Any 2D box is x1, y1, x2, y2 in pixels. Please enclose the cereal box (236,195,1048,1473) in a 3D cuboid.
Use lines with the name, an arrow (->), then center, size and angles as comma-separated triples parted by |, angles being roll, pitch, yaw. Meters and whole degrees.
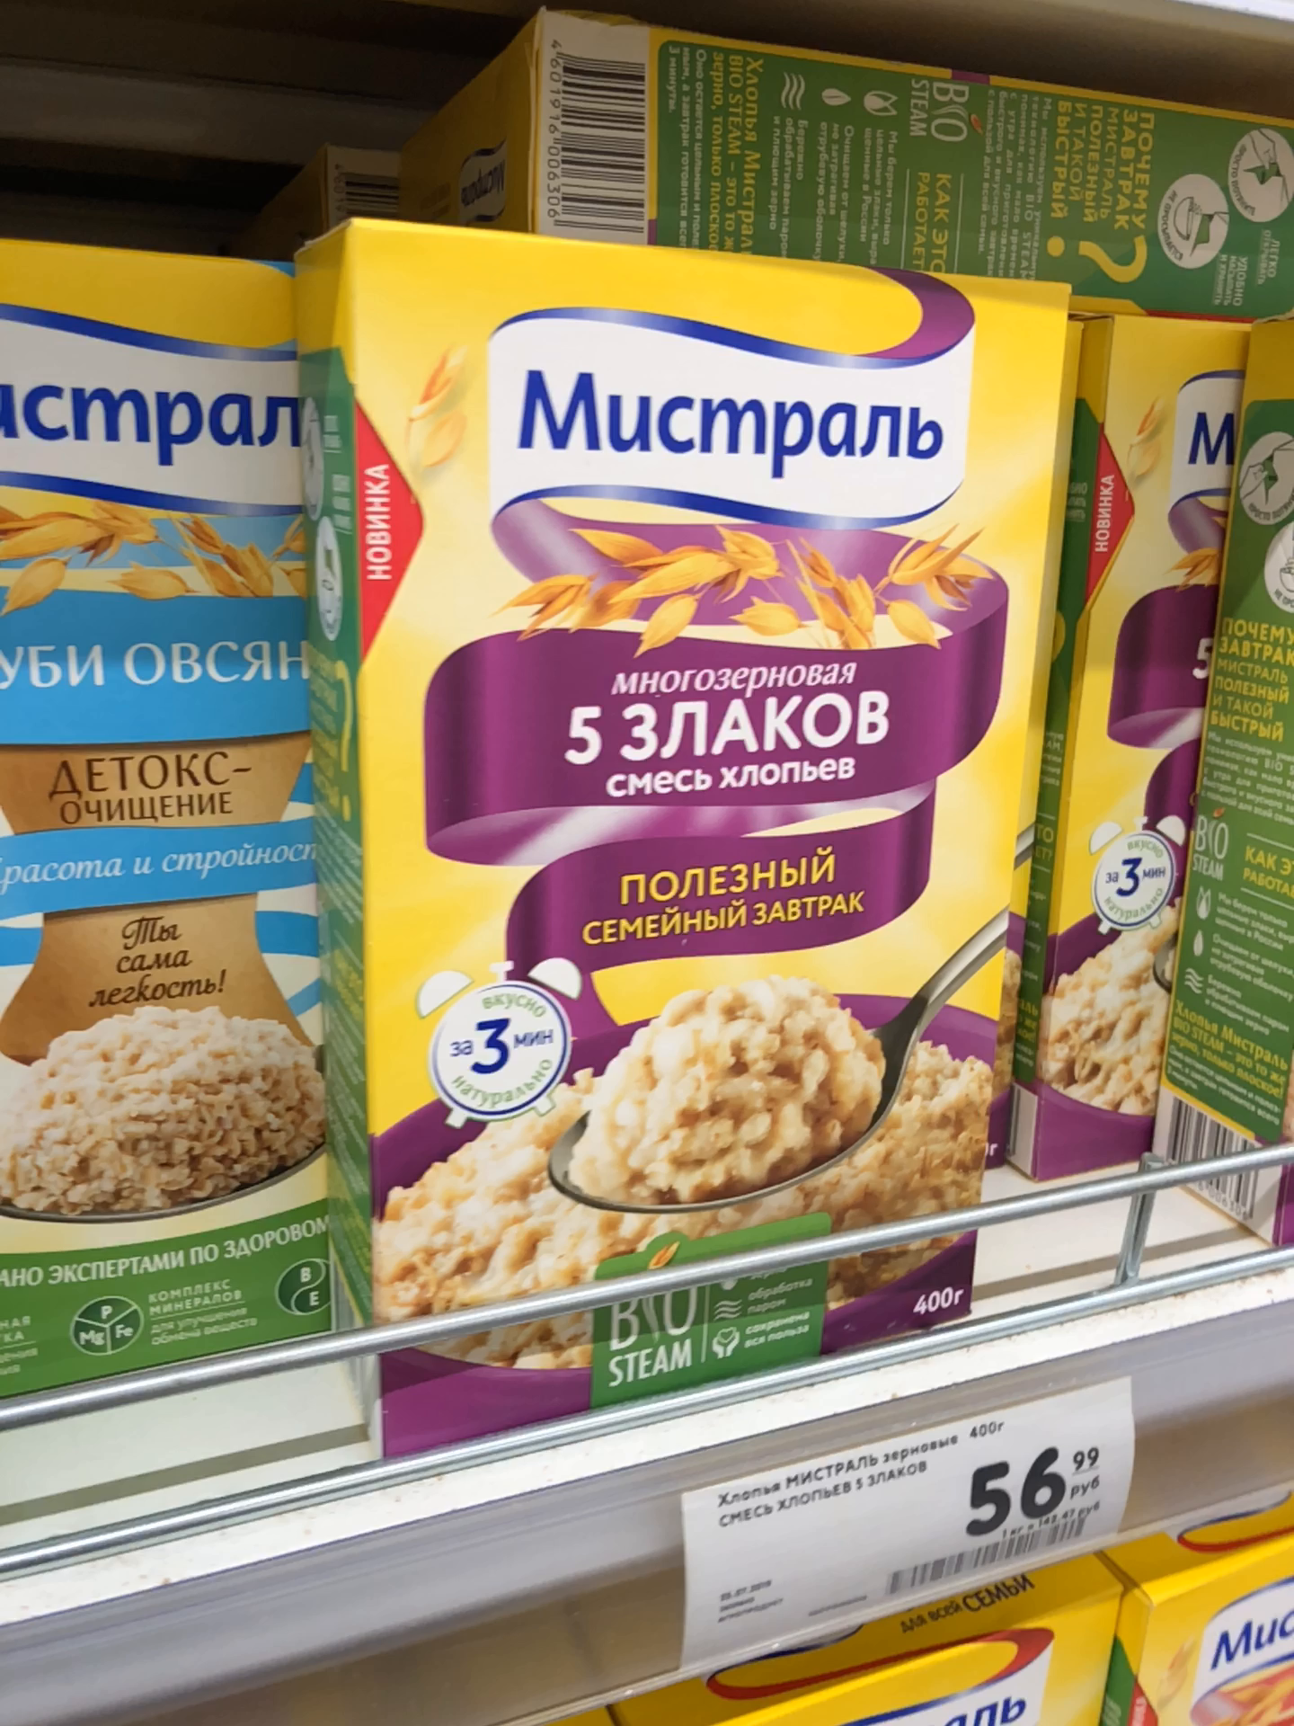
cereal box -> -0.002, -0.005, 0.275 | 0.130, 0.209, 0.050 | -6, 17, -23
